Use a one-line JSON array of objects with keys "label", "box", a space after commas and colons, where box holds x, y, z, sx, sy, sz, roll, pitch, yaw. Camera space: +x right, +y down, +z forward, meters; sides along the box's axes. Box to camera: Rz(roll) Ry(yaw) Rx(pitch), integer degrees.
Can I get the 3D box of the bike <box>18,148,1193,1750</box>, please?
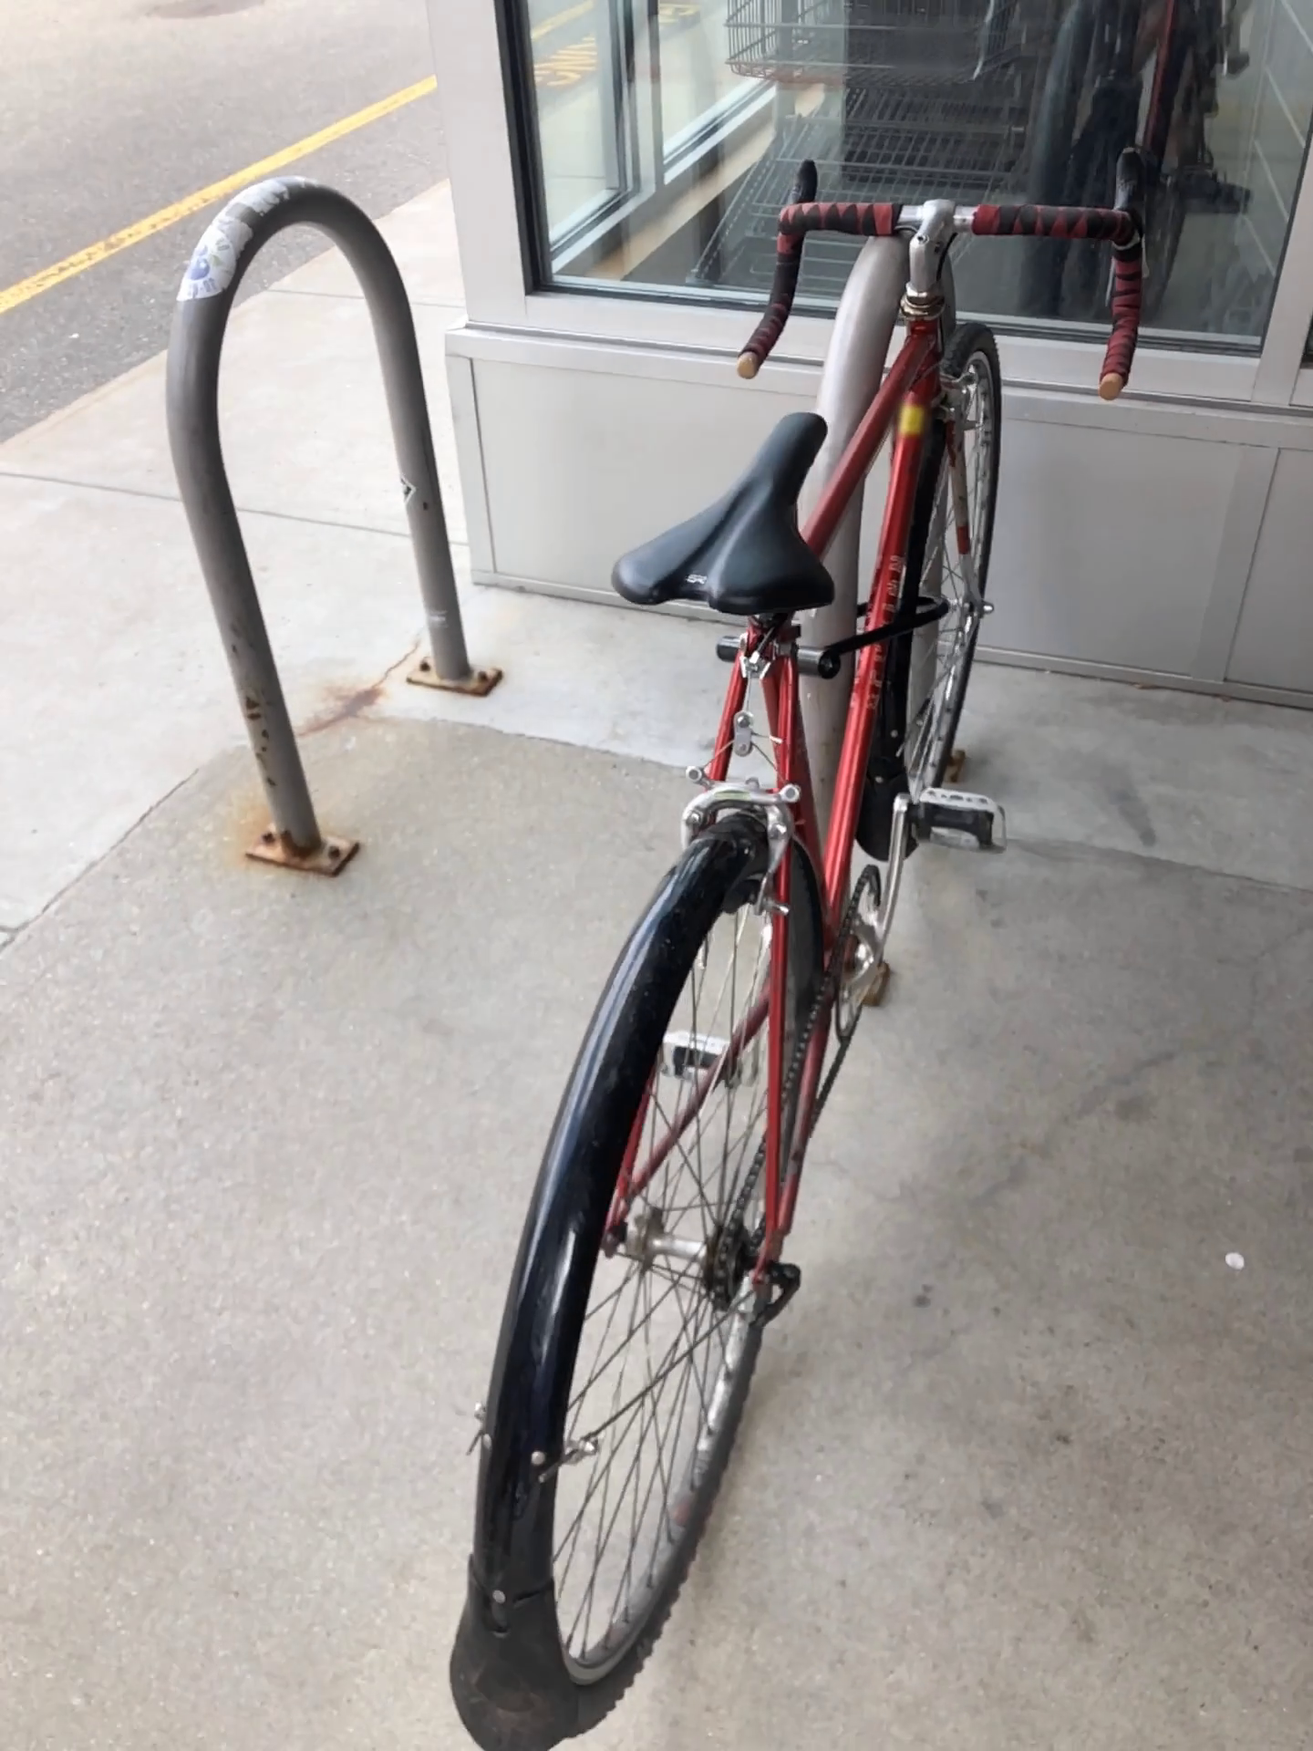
[{"label": "bike", "box": [0.181, -0.053, 1.522, 0.458, 0.787, 1.699, 11, 45, 16]}]
